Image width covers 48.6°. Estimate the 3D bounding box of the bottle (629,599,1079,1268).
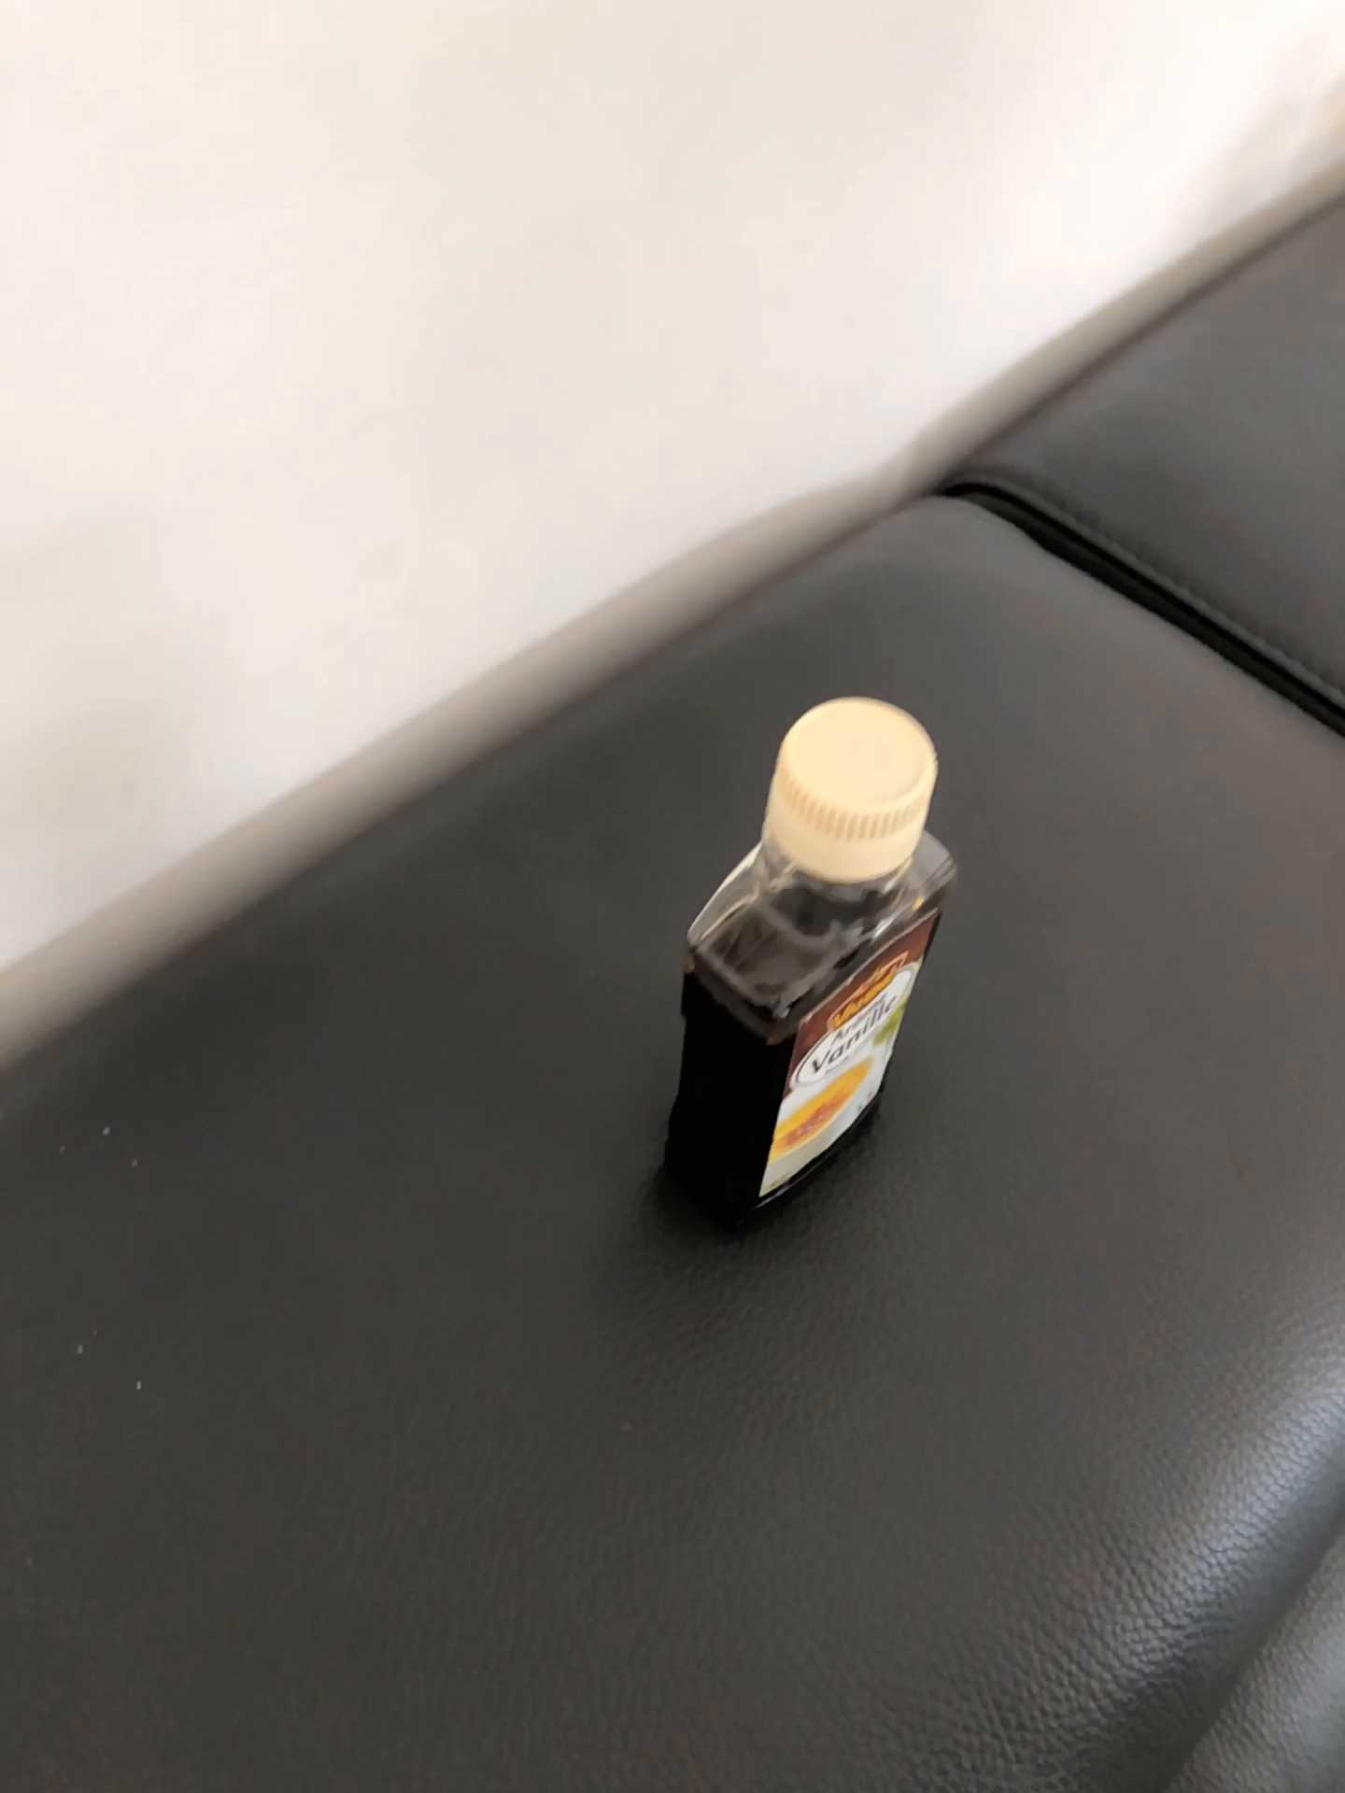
[{"bbox_3d":[0.034,0.017,0.345,0.040,0.159,0.070,40,59,22],"label":"bottle"}]
